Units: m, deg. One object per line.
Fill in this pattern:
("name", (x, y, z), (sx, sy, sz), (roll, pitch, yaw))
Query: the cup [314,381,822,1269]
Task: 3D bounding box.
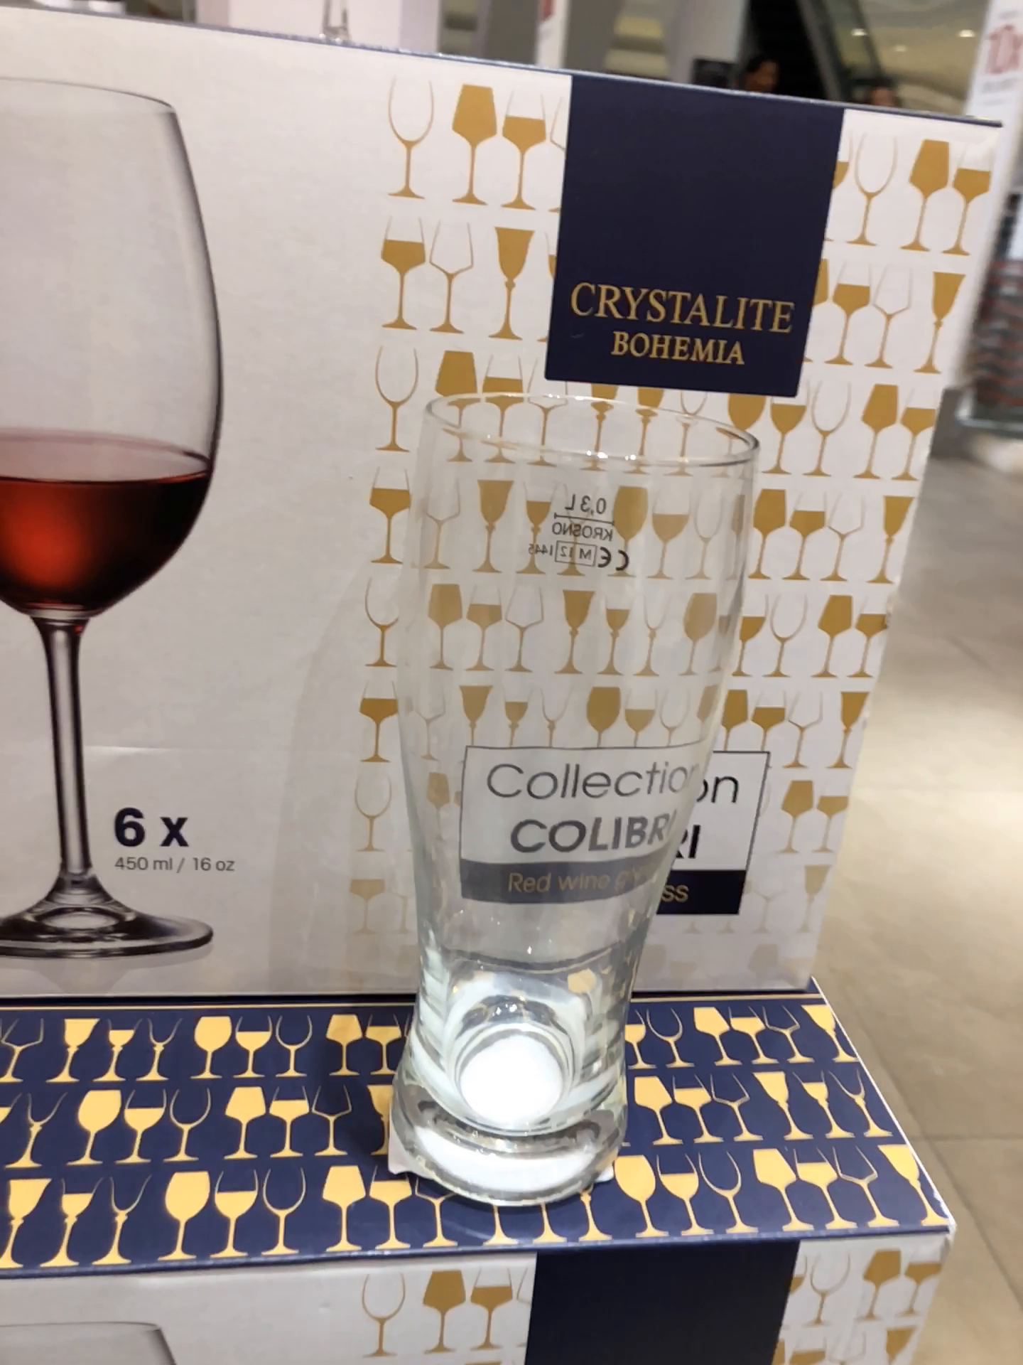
("cup", (0.002, 0.032, 0.259), (0.080, 0.179, 0.081), (5, 22, -2))
